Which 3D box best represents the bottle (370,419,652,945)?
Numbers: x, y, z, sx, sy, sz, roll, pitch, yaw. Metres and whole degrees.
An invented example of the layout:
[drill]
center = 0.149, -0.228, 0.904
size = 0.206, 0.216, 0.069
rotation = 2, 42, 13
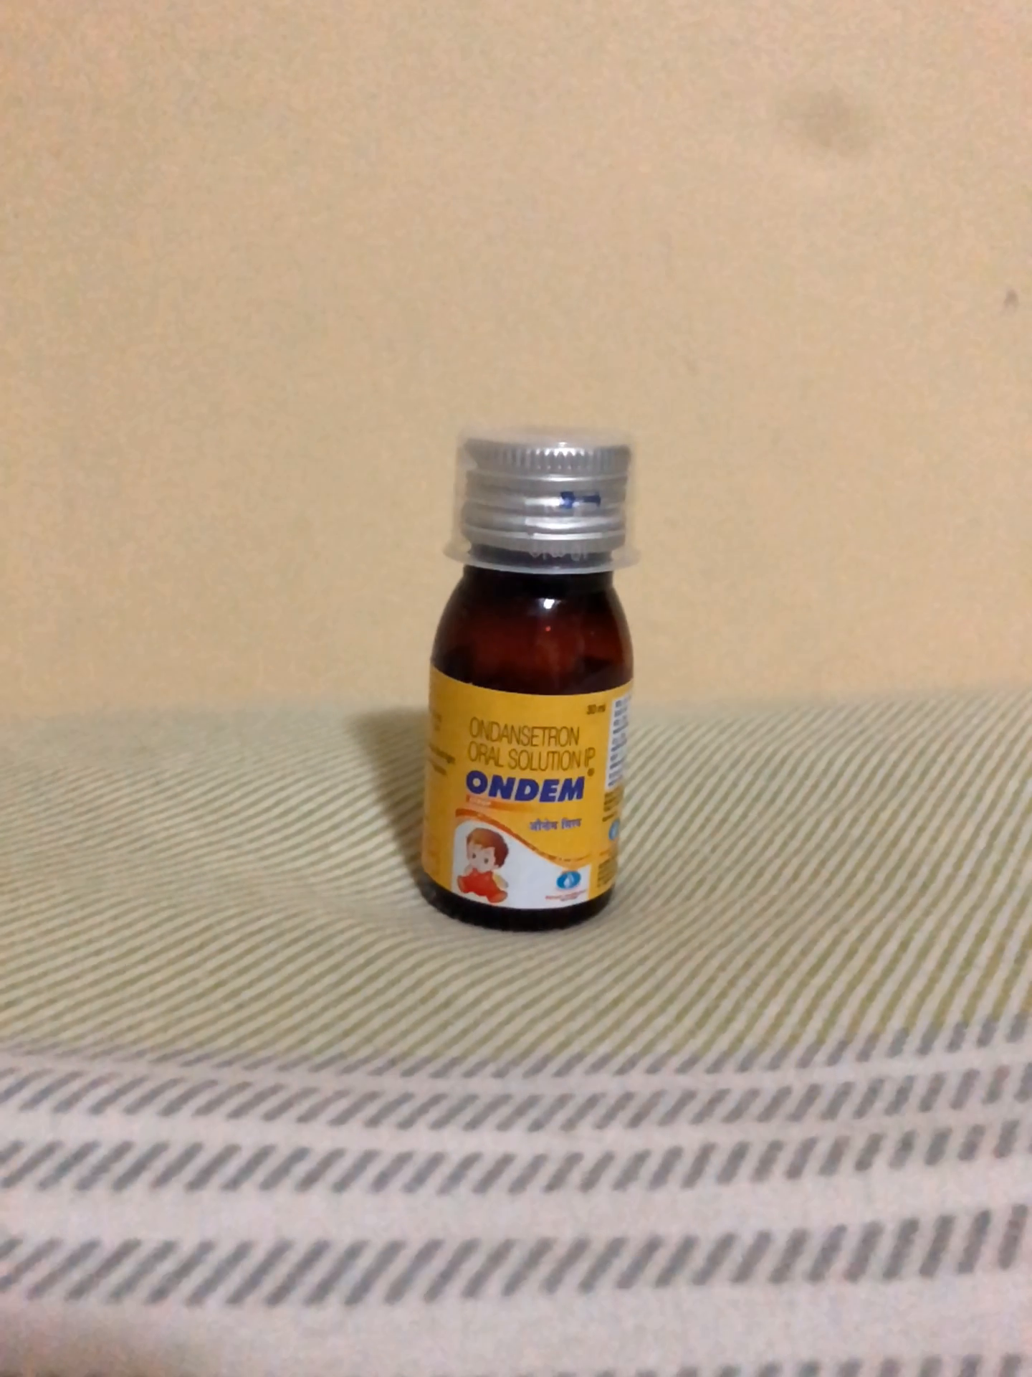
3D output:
[bottle]
center = 0.001, -0.003, 0.190
size = 0.037, 0.076, 0.038
rotation = 1, 16, 0
